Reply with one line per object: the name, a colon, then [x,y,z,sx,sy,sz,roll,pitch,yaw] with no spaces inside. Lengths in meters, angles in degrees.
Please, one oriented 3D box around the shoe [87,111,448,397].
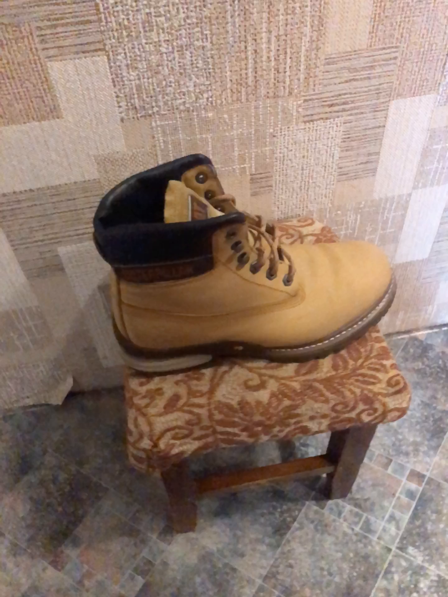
shoe: [0.039,-0.040,0.471,0.290,0.189,0.131,-10,47,-6]
